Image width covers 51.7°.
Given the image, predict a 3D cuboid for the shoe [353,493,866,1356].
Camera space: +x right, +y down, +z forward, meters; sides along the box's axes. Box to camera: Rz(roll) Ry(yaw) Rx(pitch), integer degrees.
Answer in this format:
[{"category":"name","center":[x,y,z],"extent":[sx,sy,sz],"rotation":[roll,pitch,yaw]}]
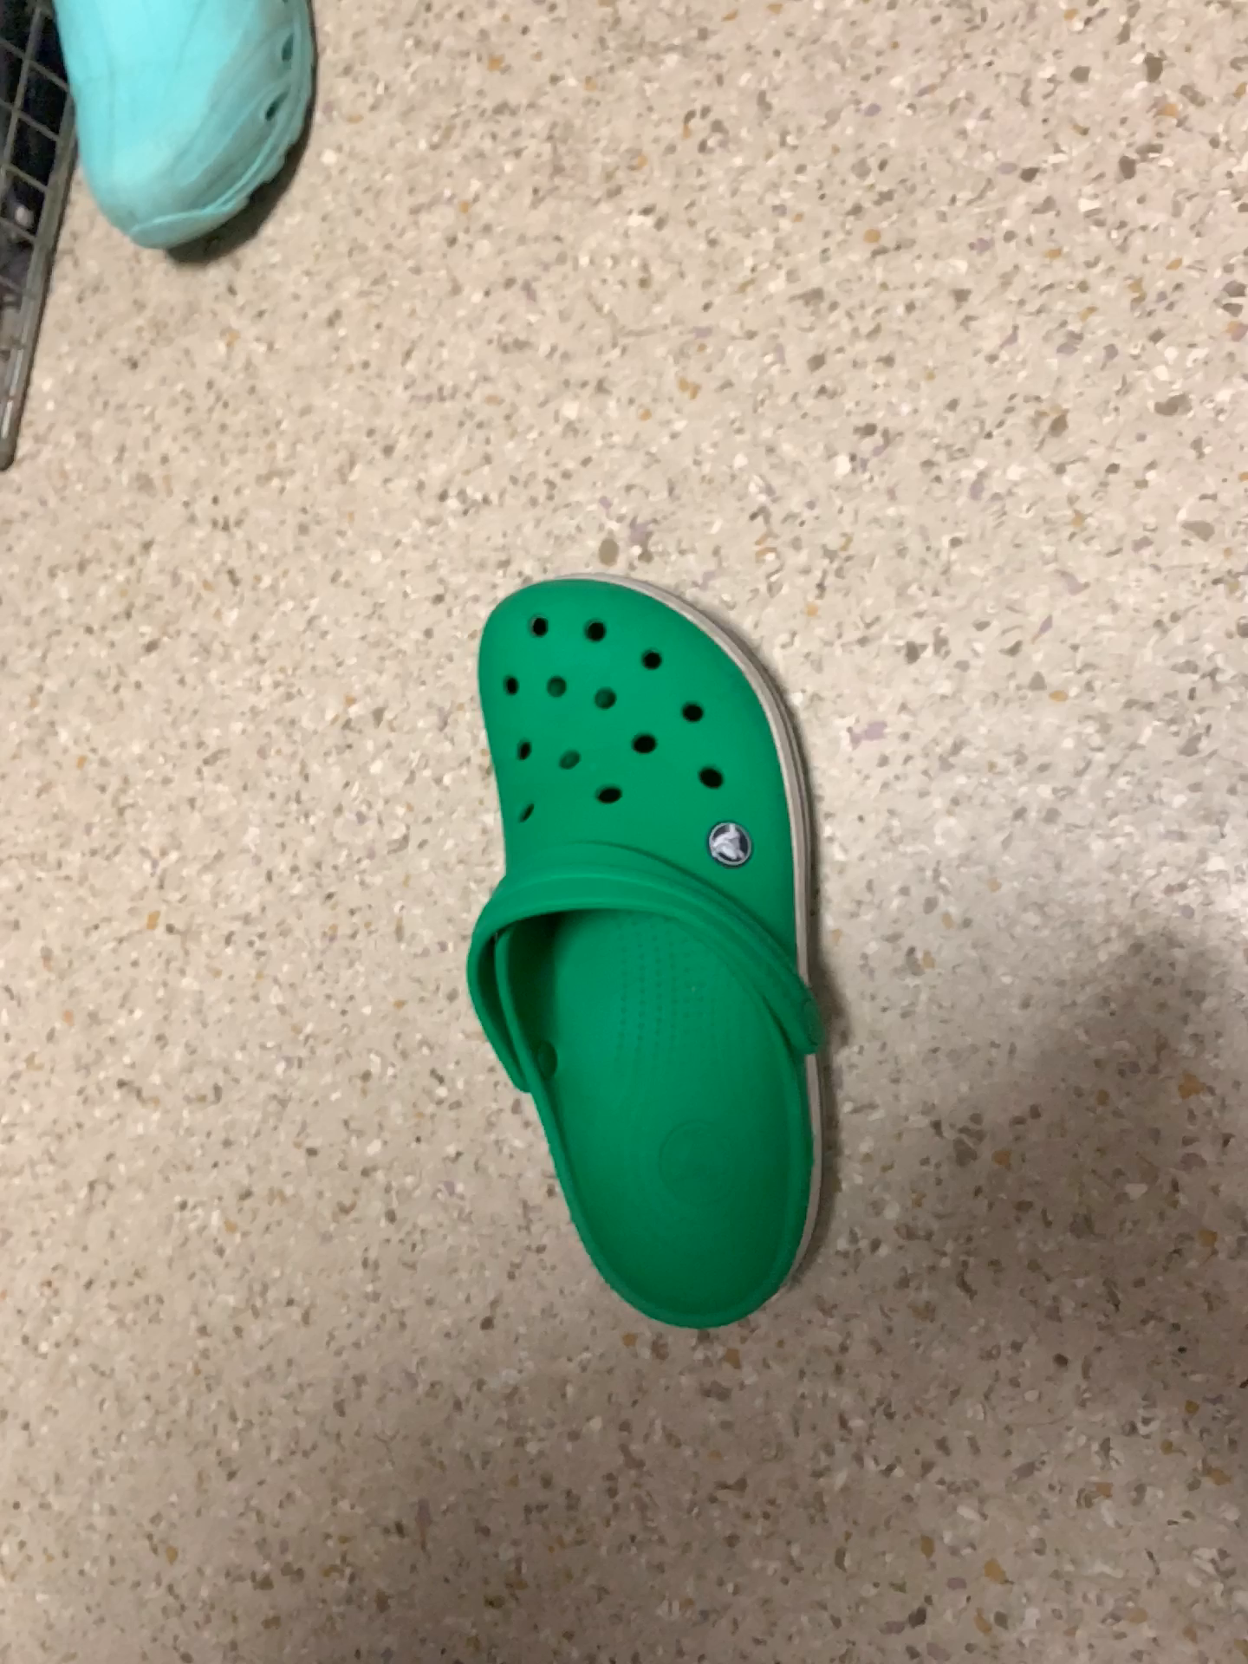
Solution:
[{"category":"shoe","center":[-0.005,0.031,0.408],"extent":[0.108,0.082,0.234],"rotation":[-12,80,24]}]
